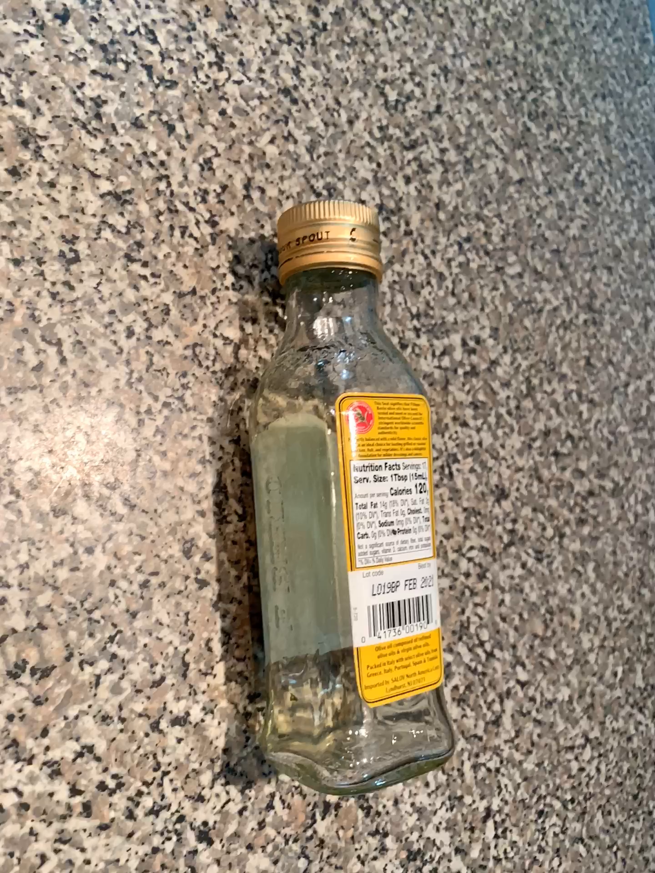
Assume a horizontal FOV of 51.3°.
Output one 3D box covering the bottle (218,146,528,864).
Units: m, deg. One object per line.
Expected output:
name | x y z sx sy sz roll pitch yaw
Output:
bottle | 0.011 0.016 0.213 0.060 0.060 0.180 0 84 -36
